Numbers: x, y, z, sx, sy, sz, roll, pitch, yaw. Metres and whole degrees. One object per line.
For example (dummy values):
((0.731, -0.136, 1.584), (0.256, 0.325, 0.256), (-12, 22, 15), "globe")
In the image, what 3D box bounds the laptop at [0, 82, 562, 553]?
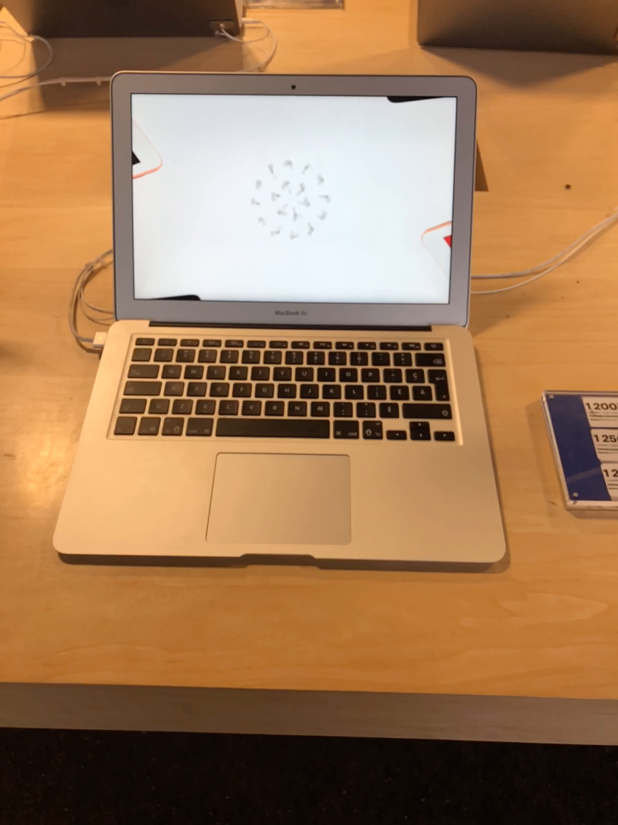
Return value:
((-0.018, -0.095, 0.537), (0.311, 0.151, 0.373), (1, 51, 1), "laptop")
